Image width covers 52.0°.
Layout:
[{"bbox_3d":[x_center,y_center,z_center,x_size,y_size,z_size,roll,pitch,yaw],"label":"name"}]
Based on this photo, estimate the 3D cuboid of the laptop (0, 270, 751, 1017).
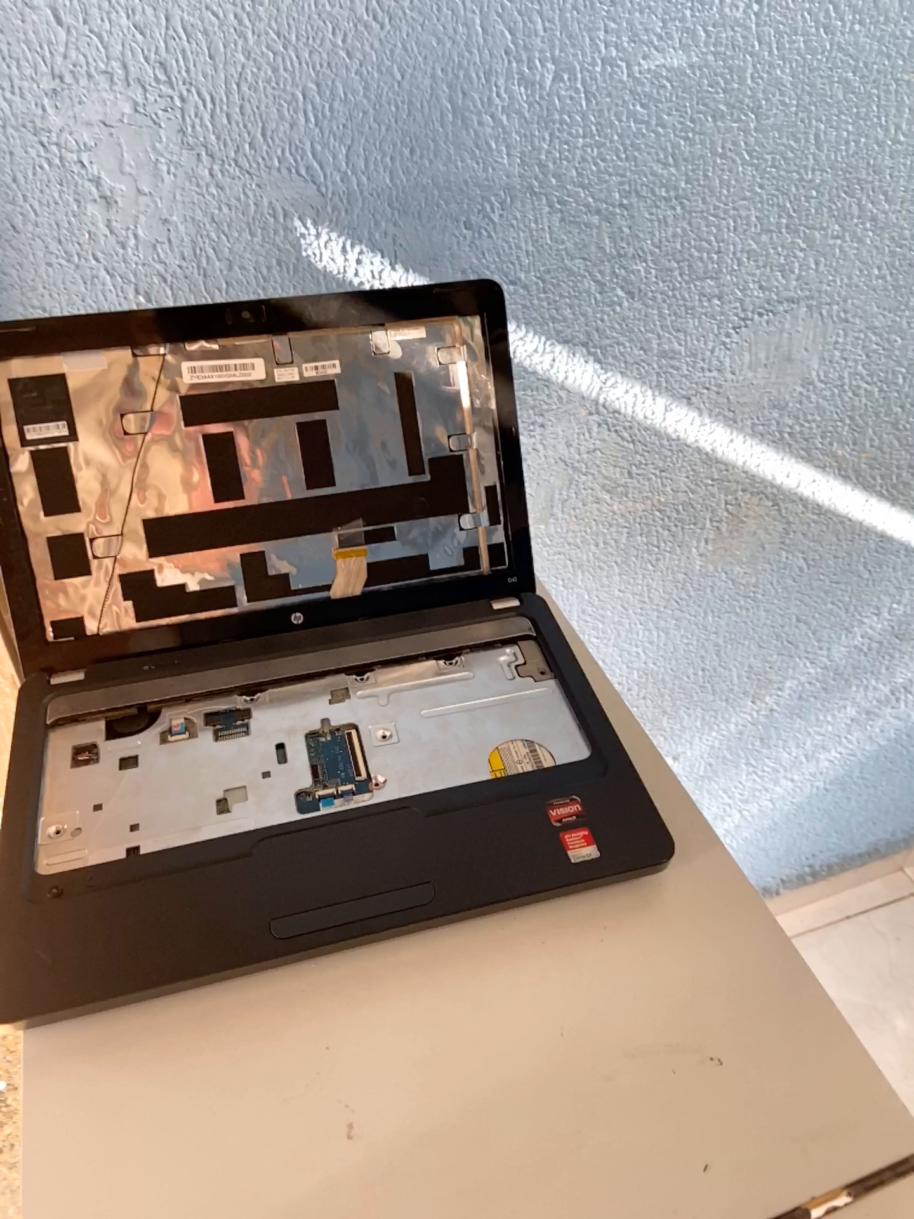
[{"bbox_3d":[-0.091,-0.024,0.529,0.338,0.179,0.351,-9,41,-12],"label":"laptop"}]
